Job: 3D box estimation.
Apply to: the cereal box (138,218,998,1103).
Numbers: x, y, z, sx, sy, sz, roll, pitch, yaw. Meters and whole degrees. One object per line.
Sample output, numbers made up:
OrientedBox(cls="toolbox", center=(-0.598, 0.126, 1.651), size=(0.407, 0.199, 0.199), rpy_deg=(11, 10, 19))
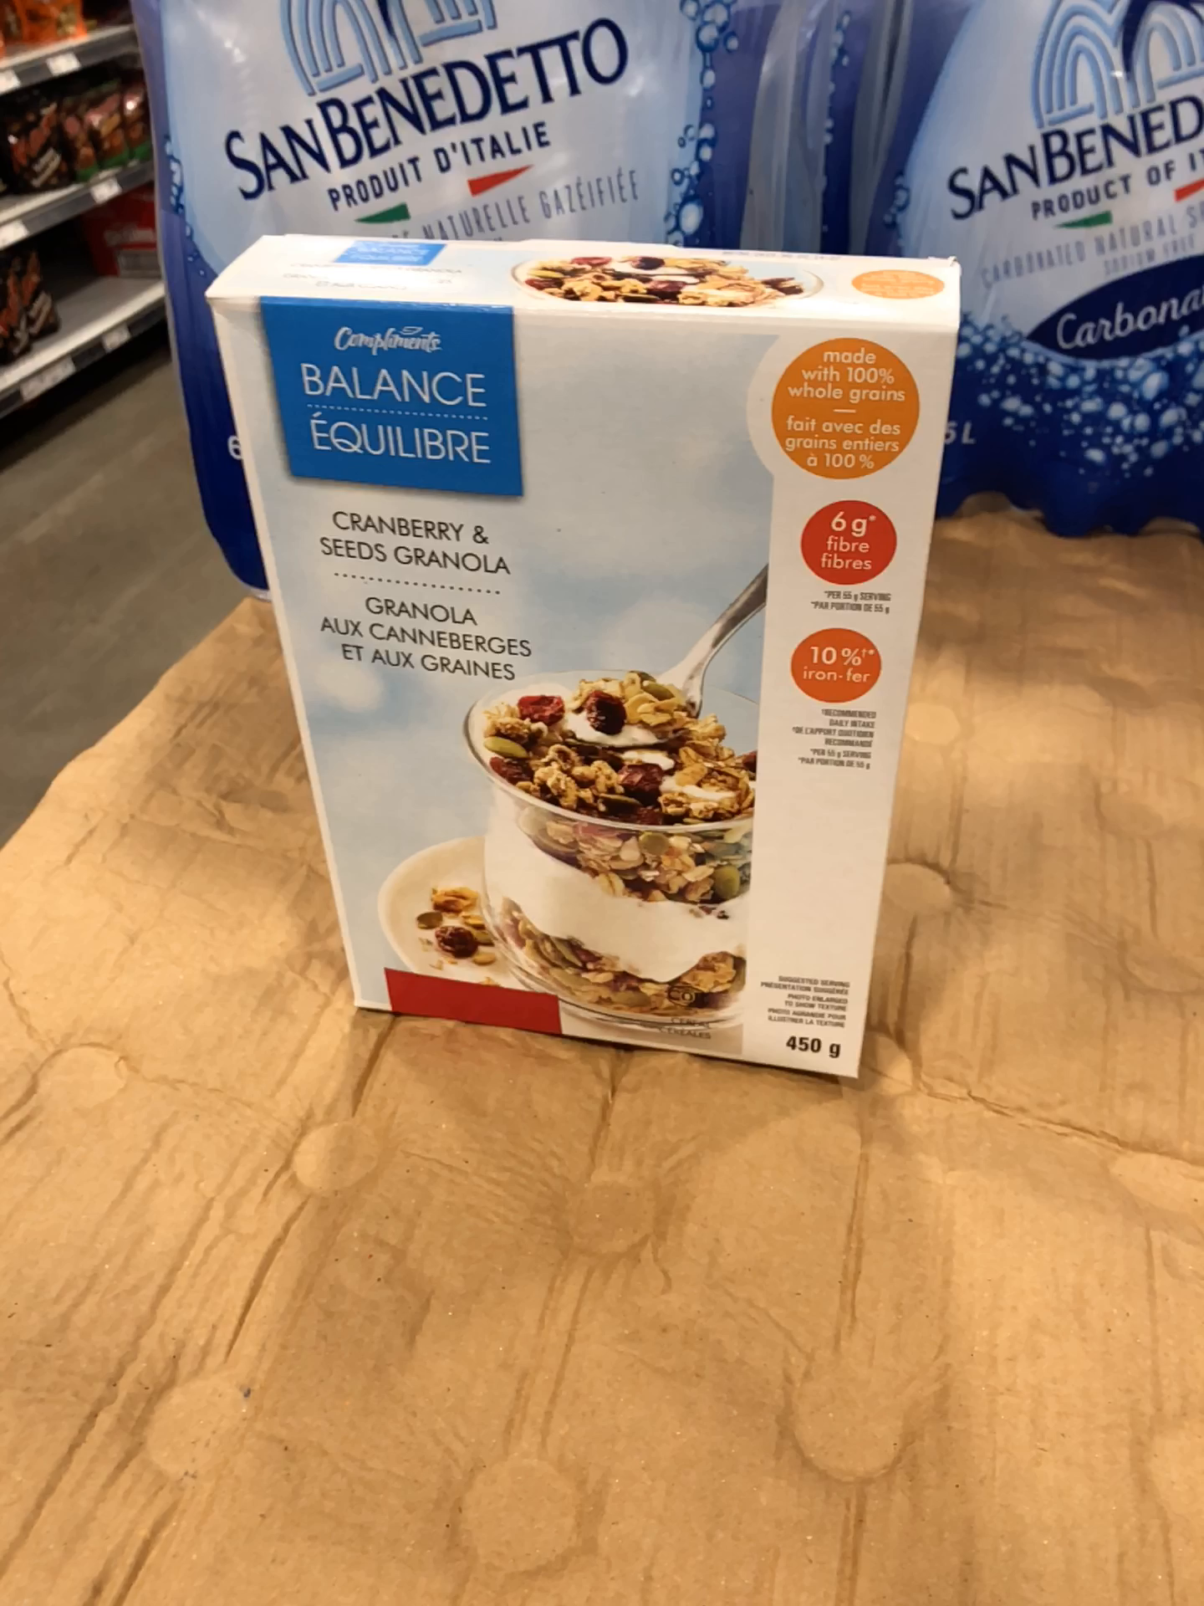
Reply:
OrientedBox(cls="cereal box", center=(-0.003, -0.028, 0.361), size=(0.180, 0.229, 0.050), rpy_deg=(6, 38, 11))
